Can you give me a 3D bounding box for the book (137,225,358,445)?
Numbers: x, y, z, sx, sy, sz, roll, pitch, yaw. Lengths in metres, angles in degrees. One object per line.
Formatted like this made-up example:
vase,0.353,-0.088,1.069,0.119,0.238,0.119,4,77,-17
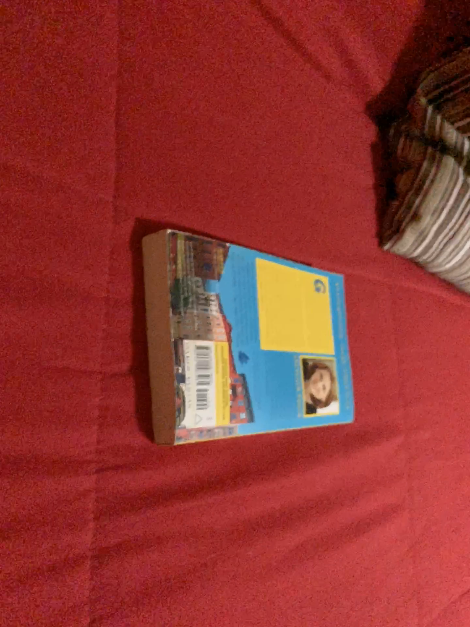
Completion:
book,0.020,0.024,0.373,0.203,0.033,0.132,9,74,-45
